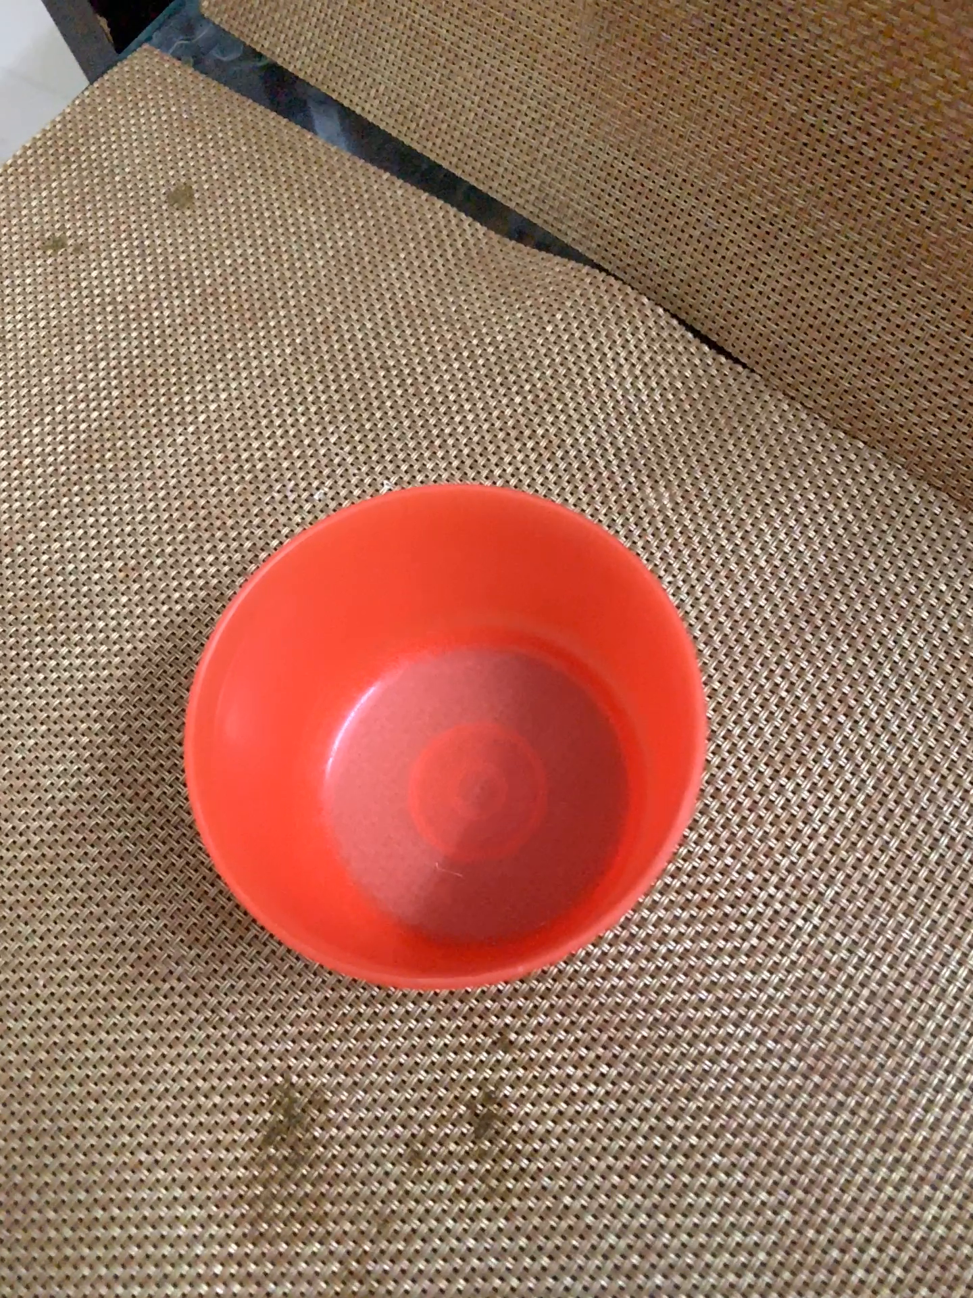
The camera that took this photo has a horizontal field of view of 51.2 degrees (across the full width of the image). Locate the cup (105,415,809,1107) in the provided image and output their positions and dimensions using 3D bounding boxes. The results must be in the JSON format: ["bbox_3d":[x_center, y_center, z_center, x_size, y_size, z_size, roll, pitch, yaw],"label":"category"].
[{"bbox_3d":[-0.004,0.019,0.163,0.070,0.050,0.070,-2,68,5],"label":"cup"}]
